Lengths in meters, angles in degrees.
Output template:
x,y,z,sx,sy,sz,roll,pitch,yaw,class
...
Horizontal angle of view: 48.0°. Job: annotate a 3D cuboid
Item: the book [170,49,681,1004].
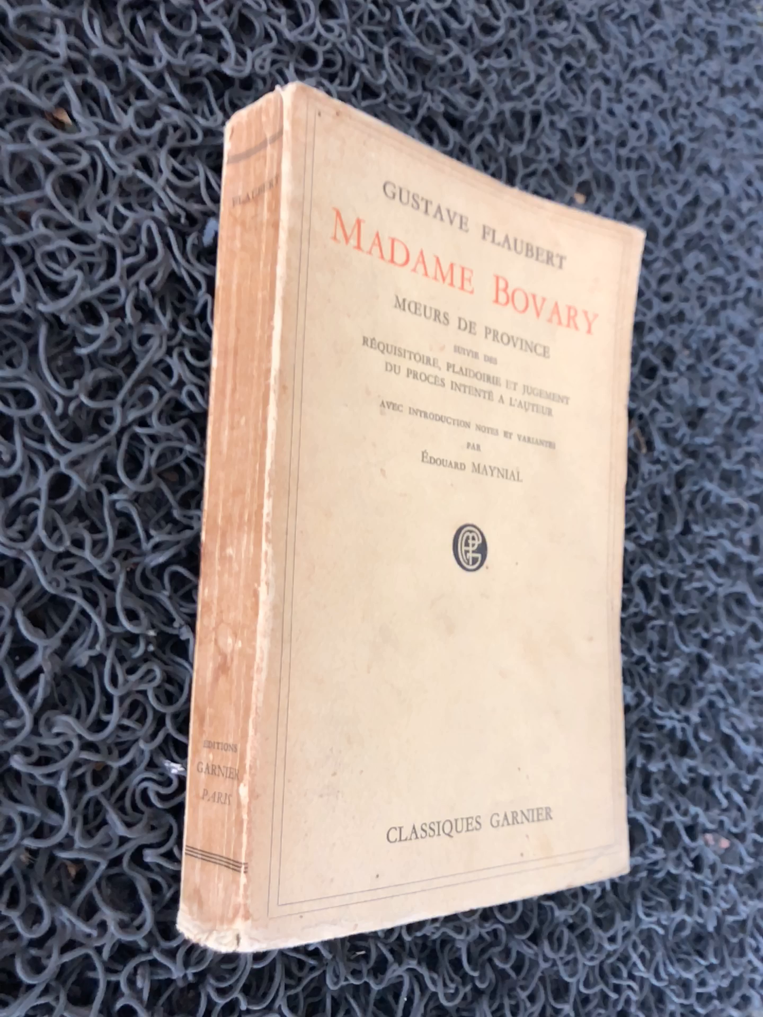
x,y,z,sx,sy,sz,roll,pitch,yaw,class
0.019,0.004,0.211,0.124,0.035,0.180,9,77,-38,book
